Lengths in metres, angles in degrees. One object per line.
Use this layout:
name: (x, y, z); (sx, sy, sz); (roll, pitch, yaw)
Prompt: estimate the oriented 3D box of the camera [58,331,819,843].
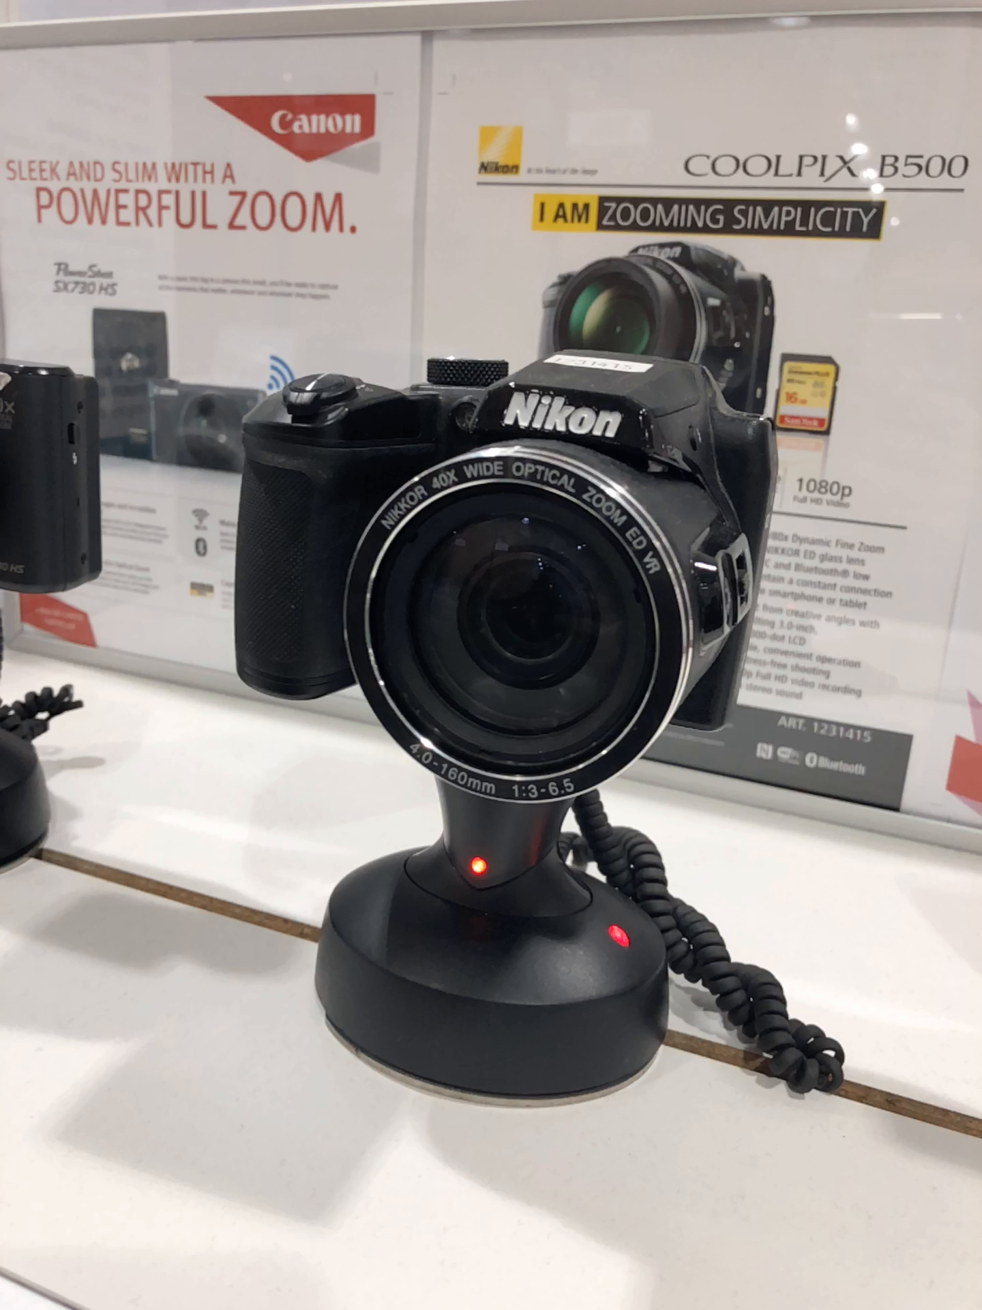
camera: (-0.004, -0.026, 0.226); (0.120, 0.070, 0.100); (10, 18, 19)
